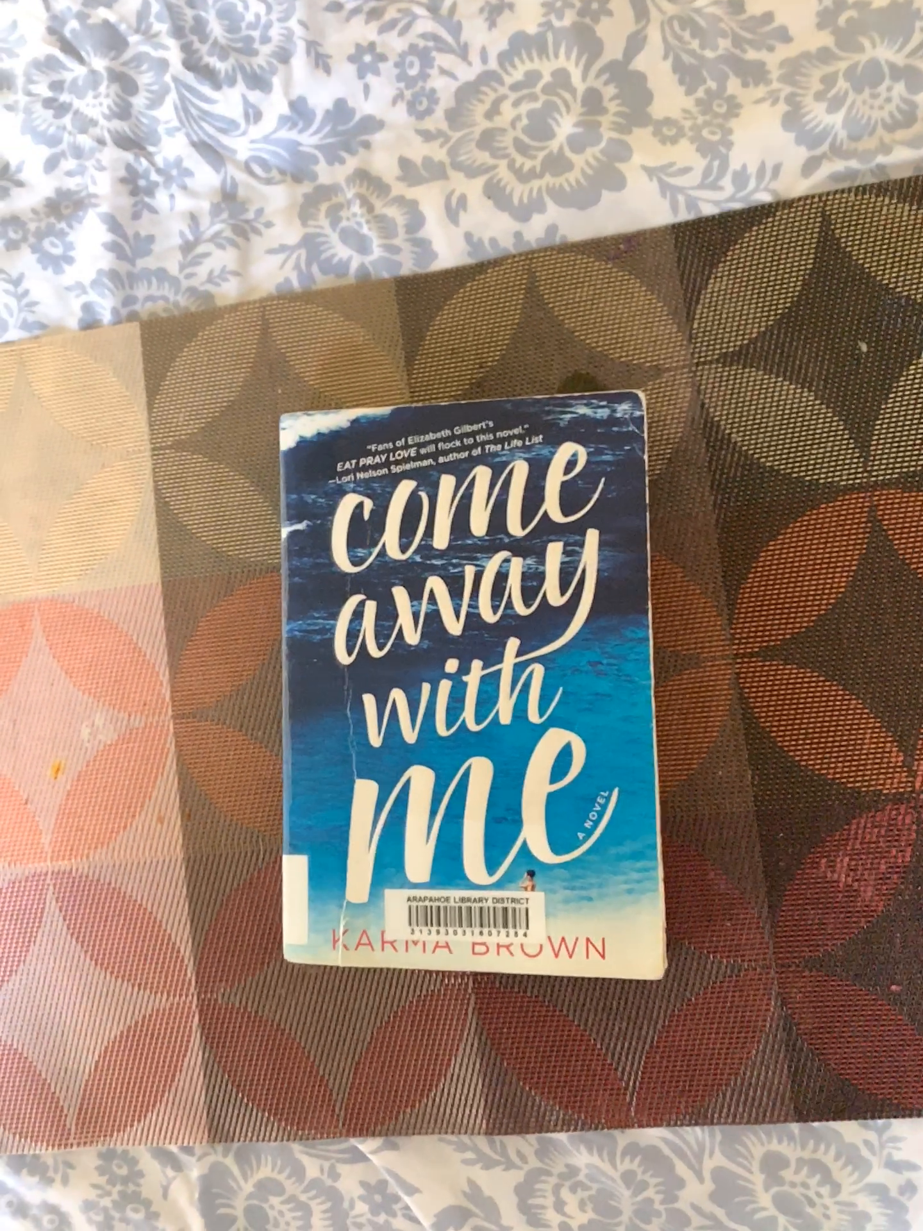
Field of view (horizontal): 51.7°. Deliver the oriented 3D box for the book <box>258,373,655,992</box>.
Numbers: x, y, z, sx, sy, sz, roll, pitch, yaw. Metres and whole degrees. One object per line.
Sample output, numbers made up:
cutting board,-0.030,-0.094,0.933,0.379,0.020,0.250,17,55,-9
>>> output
book,-0.002,0.022,0.337,0.134,0.030,0.200,-1,86,12
